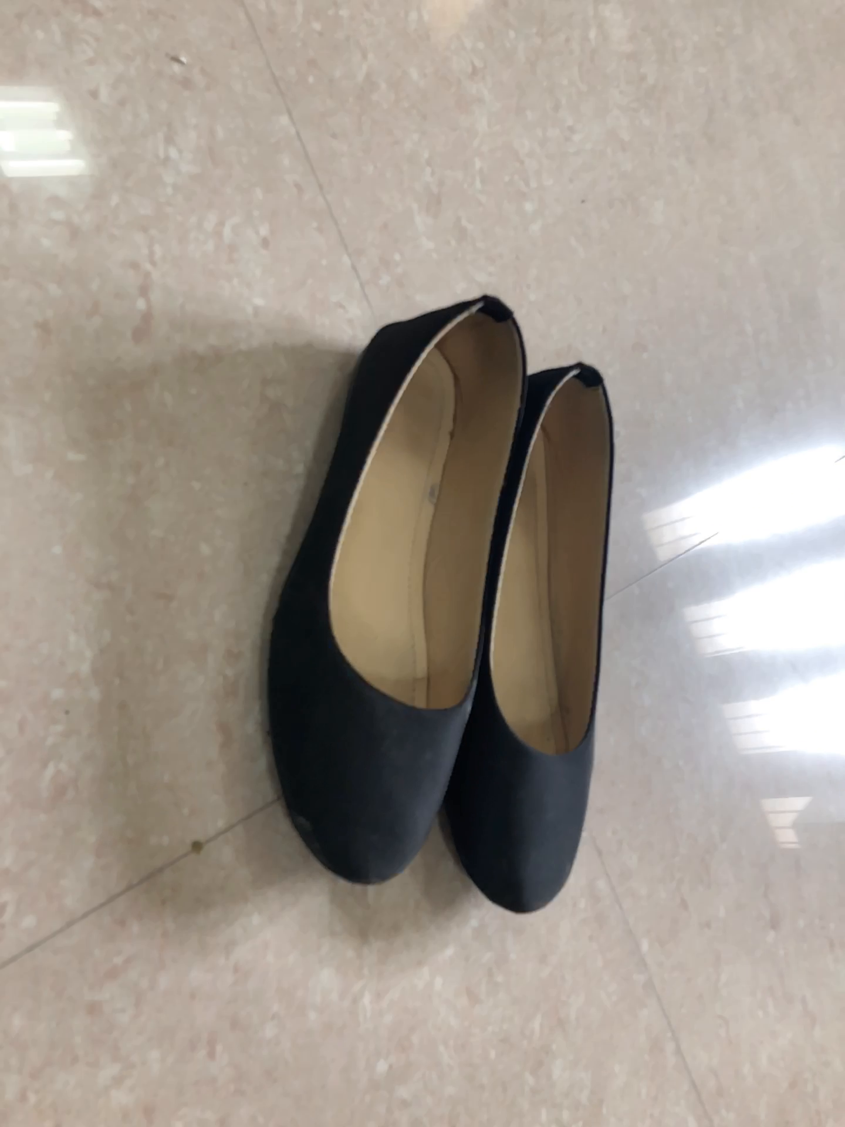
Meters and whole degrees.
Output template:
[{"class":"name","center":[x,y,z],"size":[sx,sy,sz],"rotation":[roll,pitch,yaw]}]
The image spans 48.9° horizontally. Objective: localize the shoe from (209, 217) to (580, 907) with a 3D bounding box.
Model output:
[{"class":"shoe","center":[-0.003,-0.002,0.375],"size":[0.090,0.060,0.250],"rotation":[23,66,-32]}]

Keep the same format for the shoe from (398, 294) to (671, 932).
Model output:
[{"class":"shoe","center":[0.054,0.023,0.403],"size":[0.090,0.060,0.250],"rotation":[16,70,-35]}]
